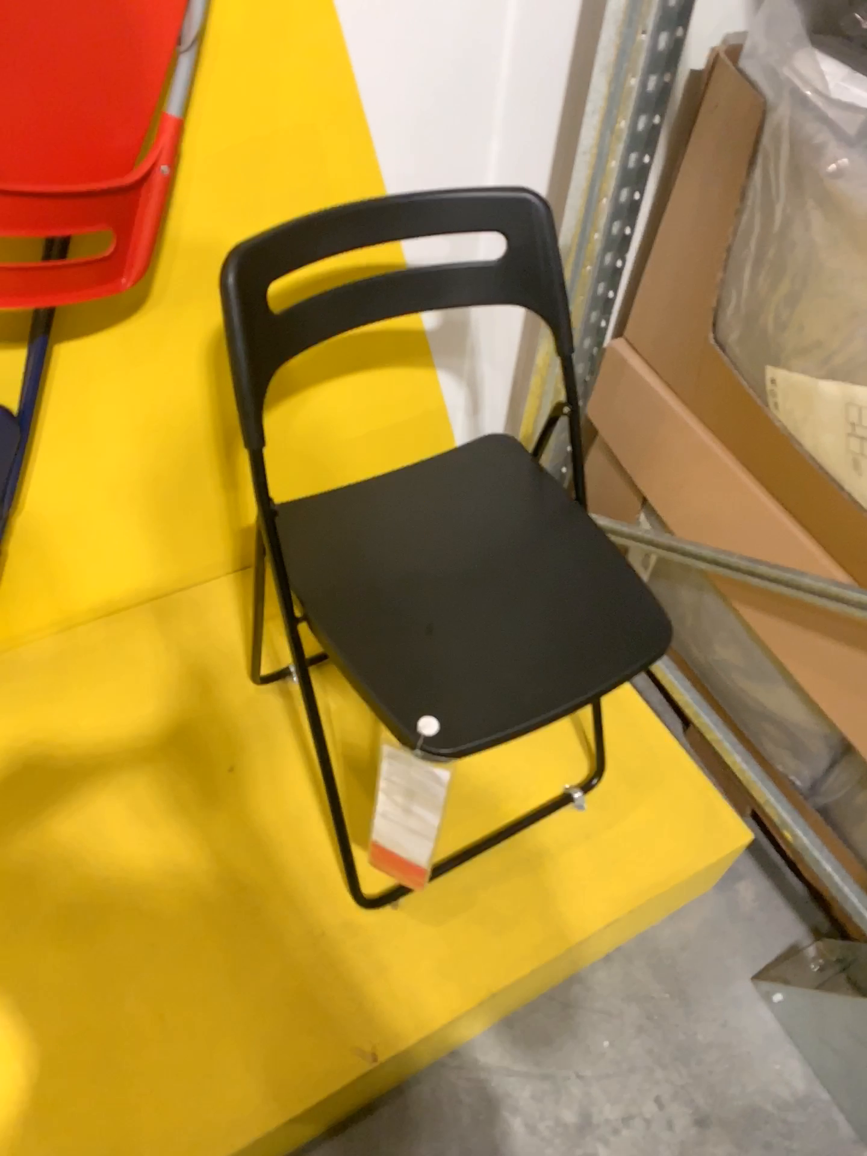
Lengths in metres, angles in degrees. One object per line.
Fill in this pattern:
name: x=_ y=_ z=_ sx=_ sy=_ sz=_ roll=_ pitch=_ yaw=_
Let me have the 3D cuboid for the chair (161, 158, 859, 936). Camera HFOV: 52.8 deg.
chair: x=0.025 y=-0.011 z=1.019 sx=0.440 sy=0.698 sz=0.441 roll=-21 pitch=54 yaw=-23
